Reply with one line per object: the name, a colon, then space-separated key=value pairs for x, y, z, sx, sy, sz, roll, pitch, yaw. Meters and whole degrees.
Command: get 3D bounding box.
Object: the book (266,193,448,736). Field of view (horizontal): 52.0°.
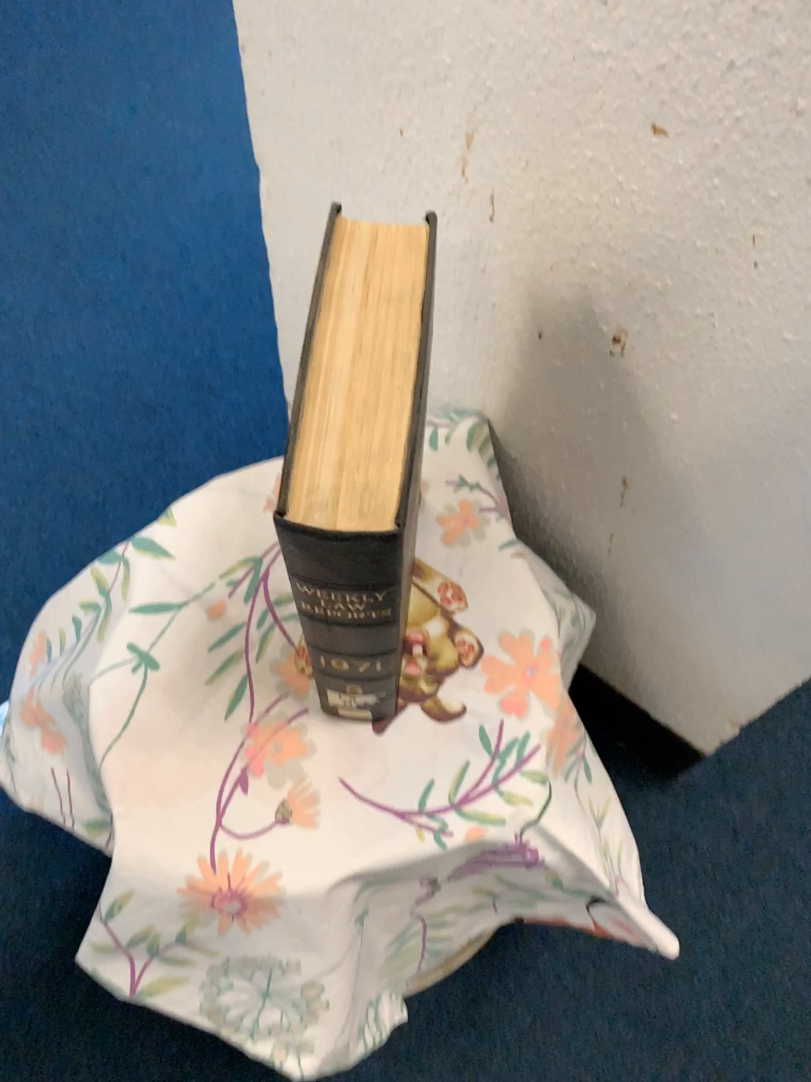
book: x=-0.019 y=-0.017 z=0.421 sx=0.052 sy=0.244 sz=0.163 roll=5 pitch=61 yaw=0
